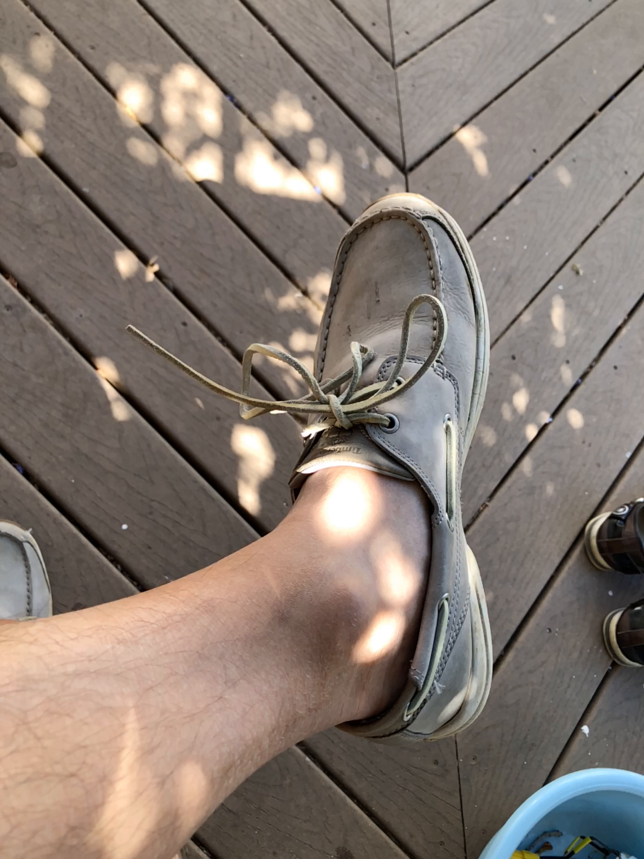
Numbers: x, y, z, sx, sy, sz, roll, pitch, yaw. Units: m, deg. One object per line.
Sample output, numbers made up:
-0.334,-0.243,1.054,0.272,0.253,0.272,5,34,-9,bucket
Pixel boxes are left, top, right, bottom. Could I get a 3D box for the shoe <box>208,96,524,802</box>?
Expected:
0.027,0.007,0.370,0.106,0.113,0.303,26,61,-59,shoe
